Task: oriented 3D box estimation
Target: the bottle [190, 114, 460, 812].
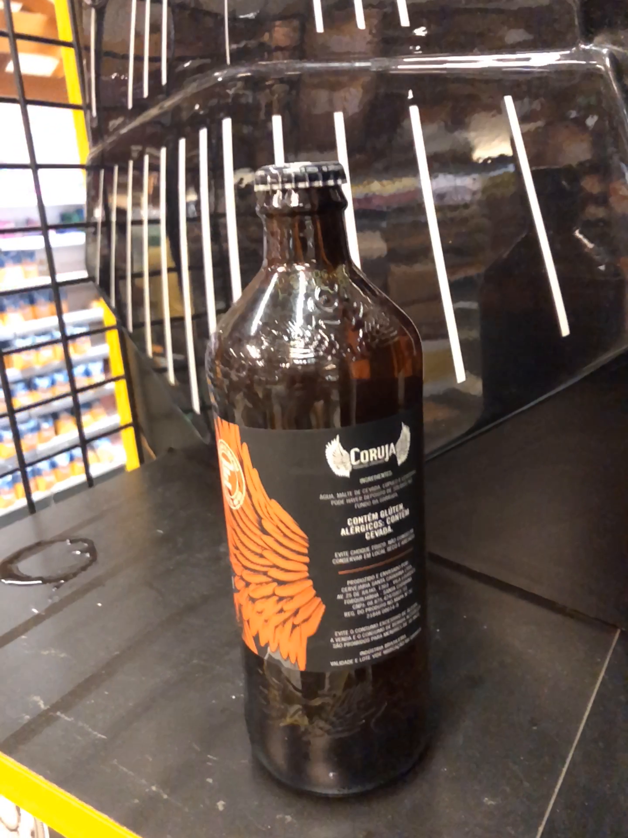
[{"bbox_3d":[0.013,0.018,0.246,0.070,0.219,0.070,-3,16,1],"label":"bottle"}]
